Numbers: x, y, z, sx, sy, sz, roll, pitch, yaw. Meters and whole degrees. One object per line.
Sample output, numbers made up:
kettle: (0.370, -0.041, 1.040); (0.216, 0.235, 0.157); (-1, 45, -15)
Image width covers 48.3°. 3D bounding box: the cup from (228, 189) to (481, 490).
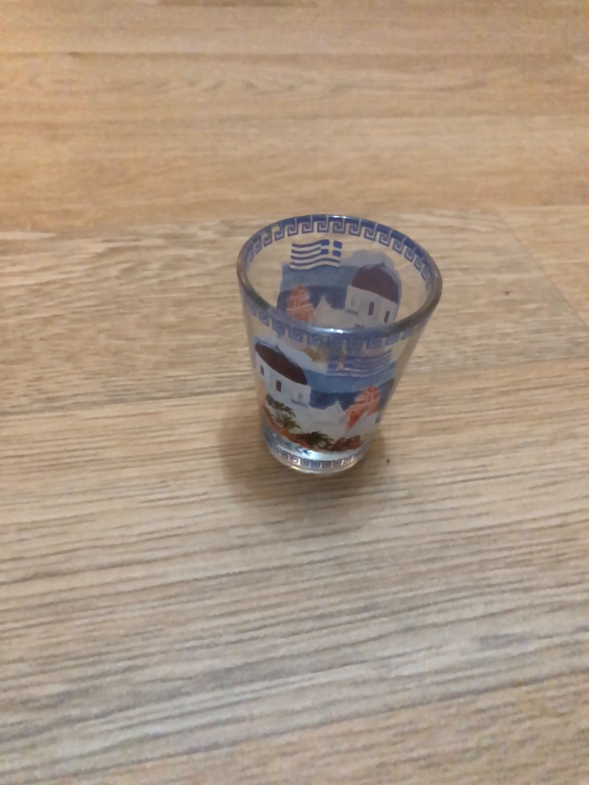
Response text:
cup: (0.010, -0.015, 0.177); (0.050, 0.060, 0.050); (3, 45, -3)
